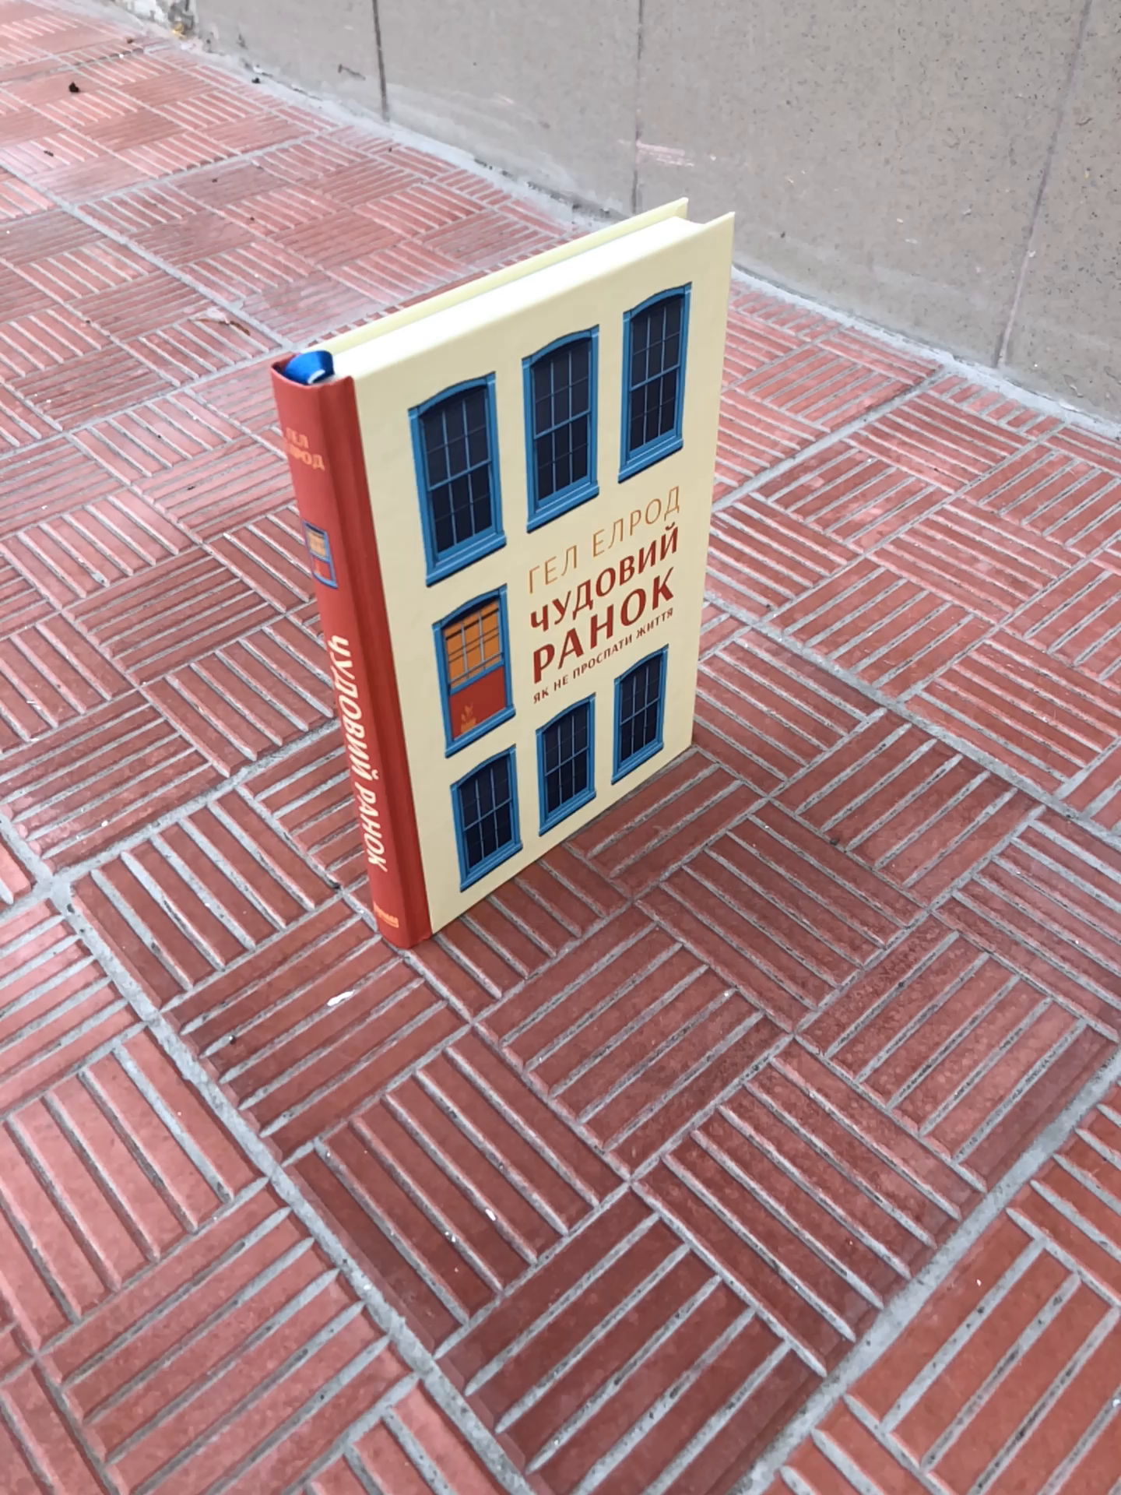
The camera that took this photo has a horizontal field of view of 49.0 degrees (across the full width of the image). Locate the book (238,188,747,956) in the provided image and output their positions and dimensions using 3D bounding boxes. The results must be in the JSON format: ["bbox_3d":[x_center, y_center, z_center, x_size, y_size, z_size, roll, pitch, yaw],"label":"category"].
[{"bbox_3d":[-0.008,-0.045,0.372,0.145,0.196,0.025,-34,52,-29],"label":"book"}]
